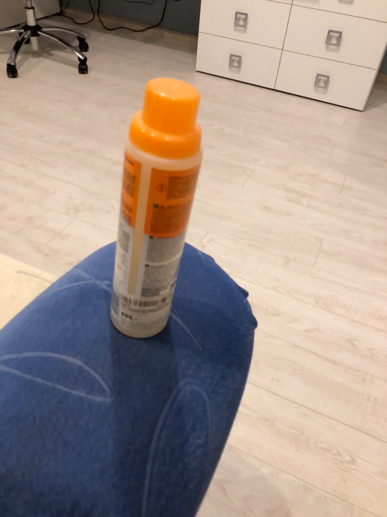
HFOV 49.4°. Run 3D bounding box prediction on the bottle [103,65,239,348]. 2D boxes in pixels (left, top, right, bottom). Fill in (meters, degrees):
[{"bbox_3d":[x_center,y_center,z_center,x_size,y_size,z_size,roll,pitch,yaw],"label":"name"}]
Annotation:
[{"bbox_3d":[-0.022,-0.025,0.295,0.052,0.188,0.052,9,38,-7],"label":"bottle"}]
